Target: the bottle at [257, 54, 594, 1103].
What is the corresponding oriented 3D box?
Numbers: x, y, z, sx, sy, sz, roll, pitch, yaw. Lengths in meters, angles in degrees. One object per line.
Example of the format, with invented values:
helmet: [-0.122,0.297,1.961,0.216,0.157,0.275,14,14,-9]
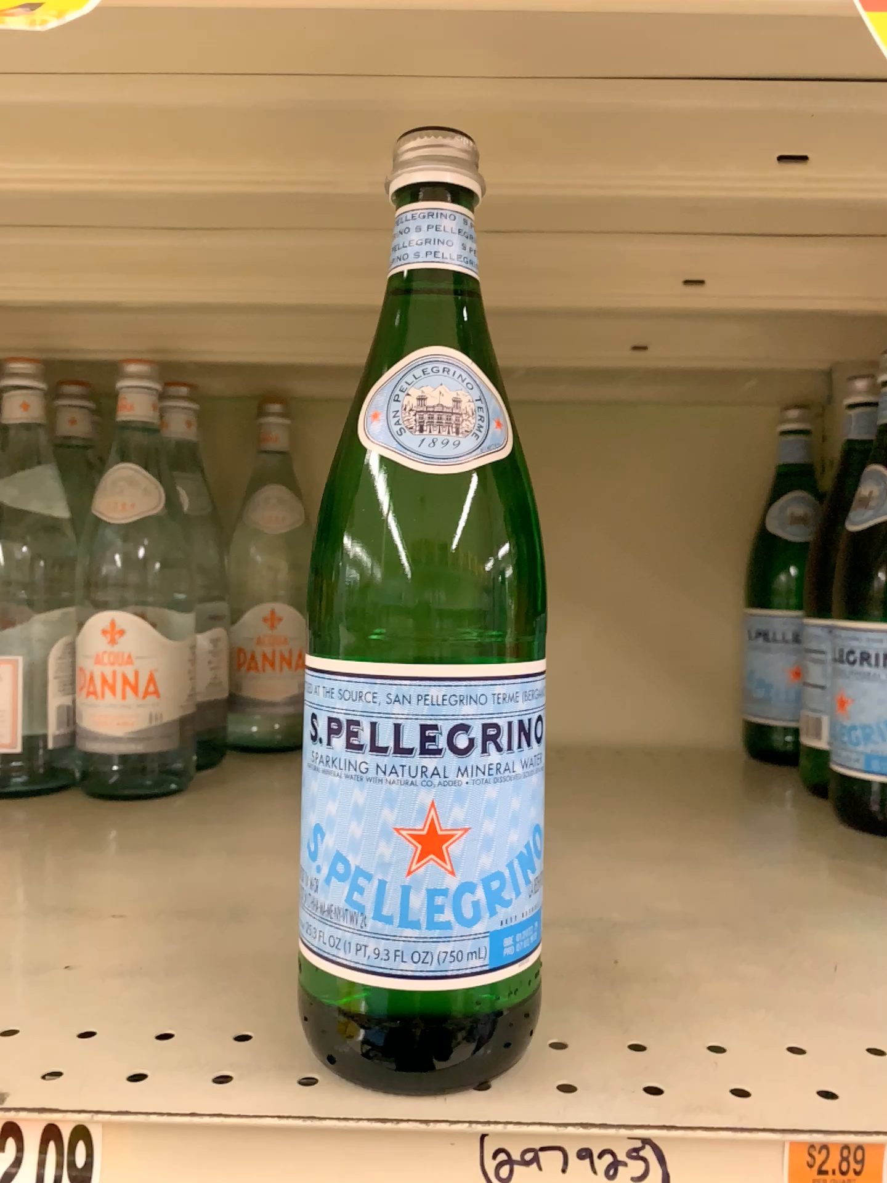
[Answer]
bottle: [-0.004,-0.004,0.301,0.090,0.290,0.090,1,2,0]
